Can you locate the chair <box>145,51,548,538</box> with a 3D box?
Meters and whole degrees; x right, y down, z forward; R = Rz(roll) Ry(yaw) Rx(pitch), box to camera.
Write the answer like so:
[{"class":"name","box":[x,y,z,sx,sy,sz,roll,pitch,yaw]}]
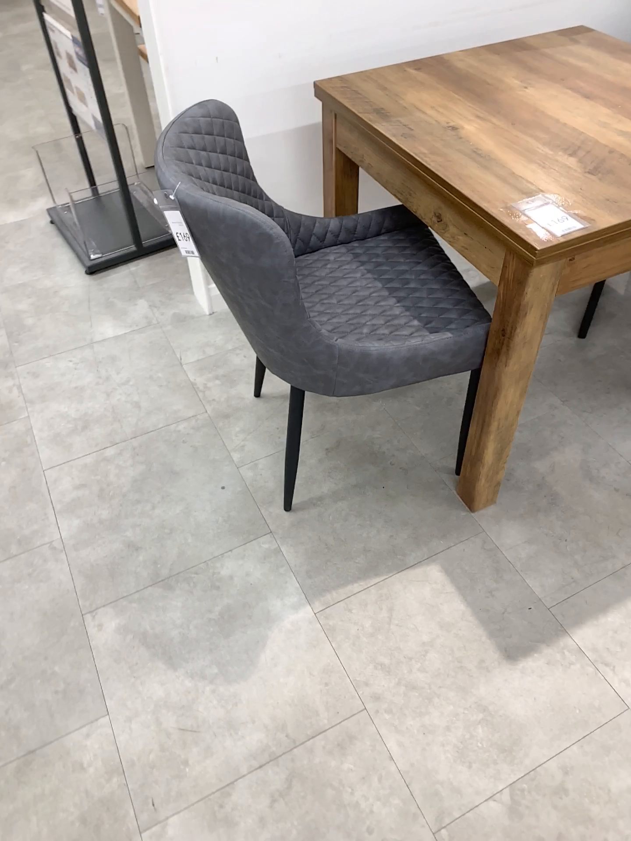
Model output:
[{"class":"chair","box":[0.024,-0.249,1.376,0.550,0.775,0.532,-13,48,-10]}]
